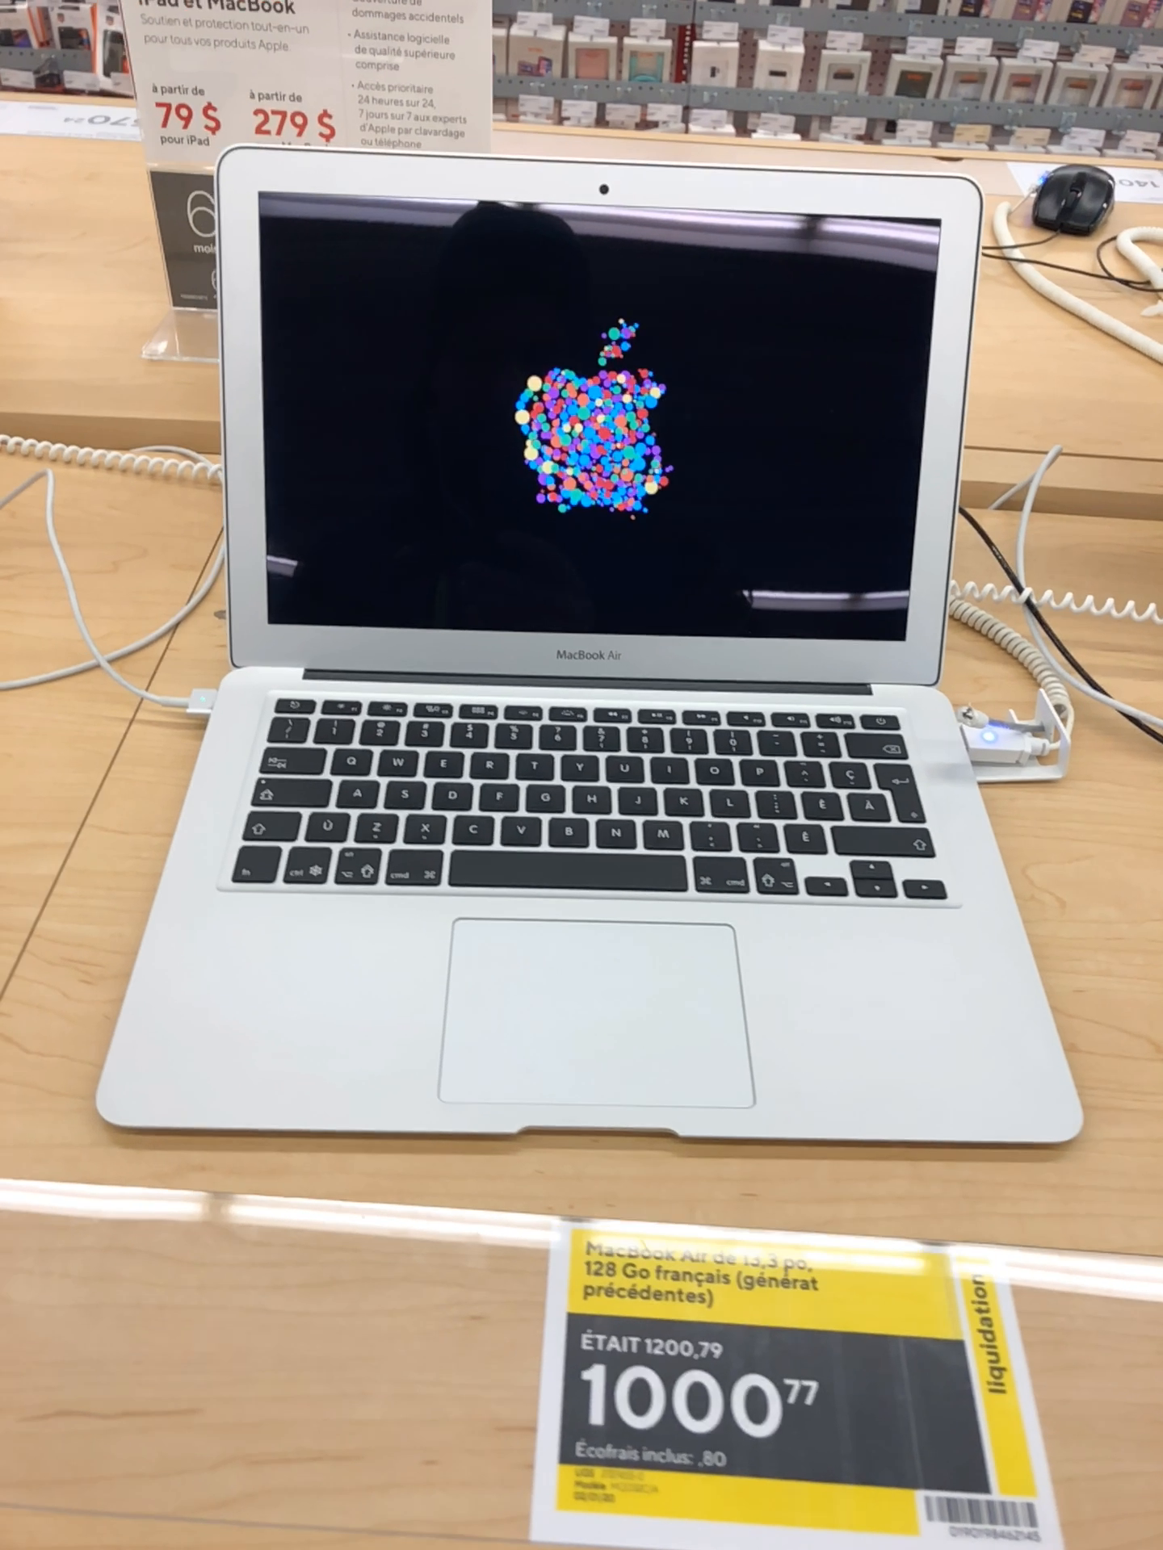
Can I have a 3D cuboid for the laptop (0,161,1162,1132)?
[{"bbox_3d":[0.008,-0.066,0.458,0.305,0.186,0.326,1,41,-4],"label":"laptop"}]
